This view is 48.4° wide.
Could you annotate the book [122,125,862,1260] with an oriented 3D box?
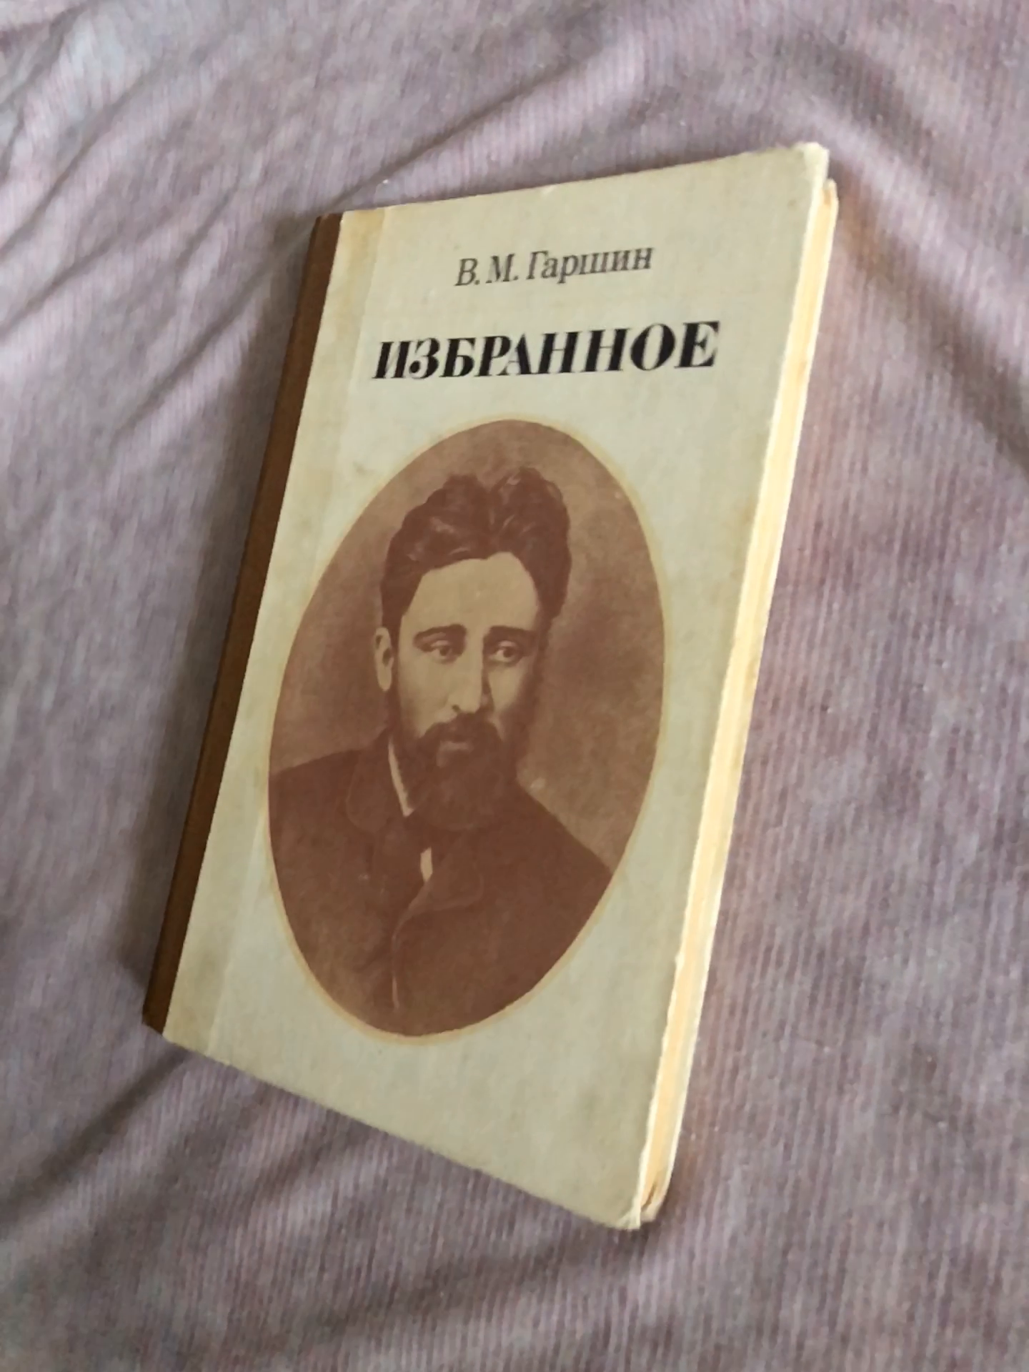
[{"bbox_3d":[-0.011,-0.009,0.269,0.142,0.030,0.220,8,84,34],"label":"book"}]
